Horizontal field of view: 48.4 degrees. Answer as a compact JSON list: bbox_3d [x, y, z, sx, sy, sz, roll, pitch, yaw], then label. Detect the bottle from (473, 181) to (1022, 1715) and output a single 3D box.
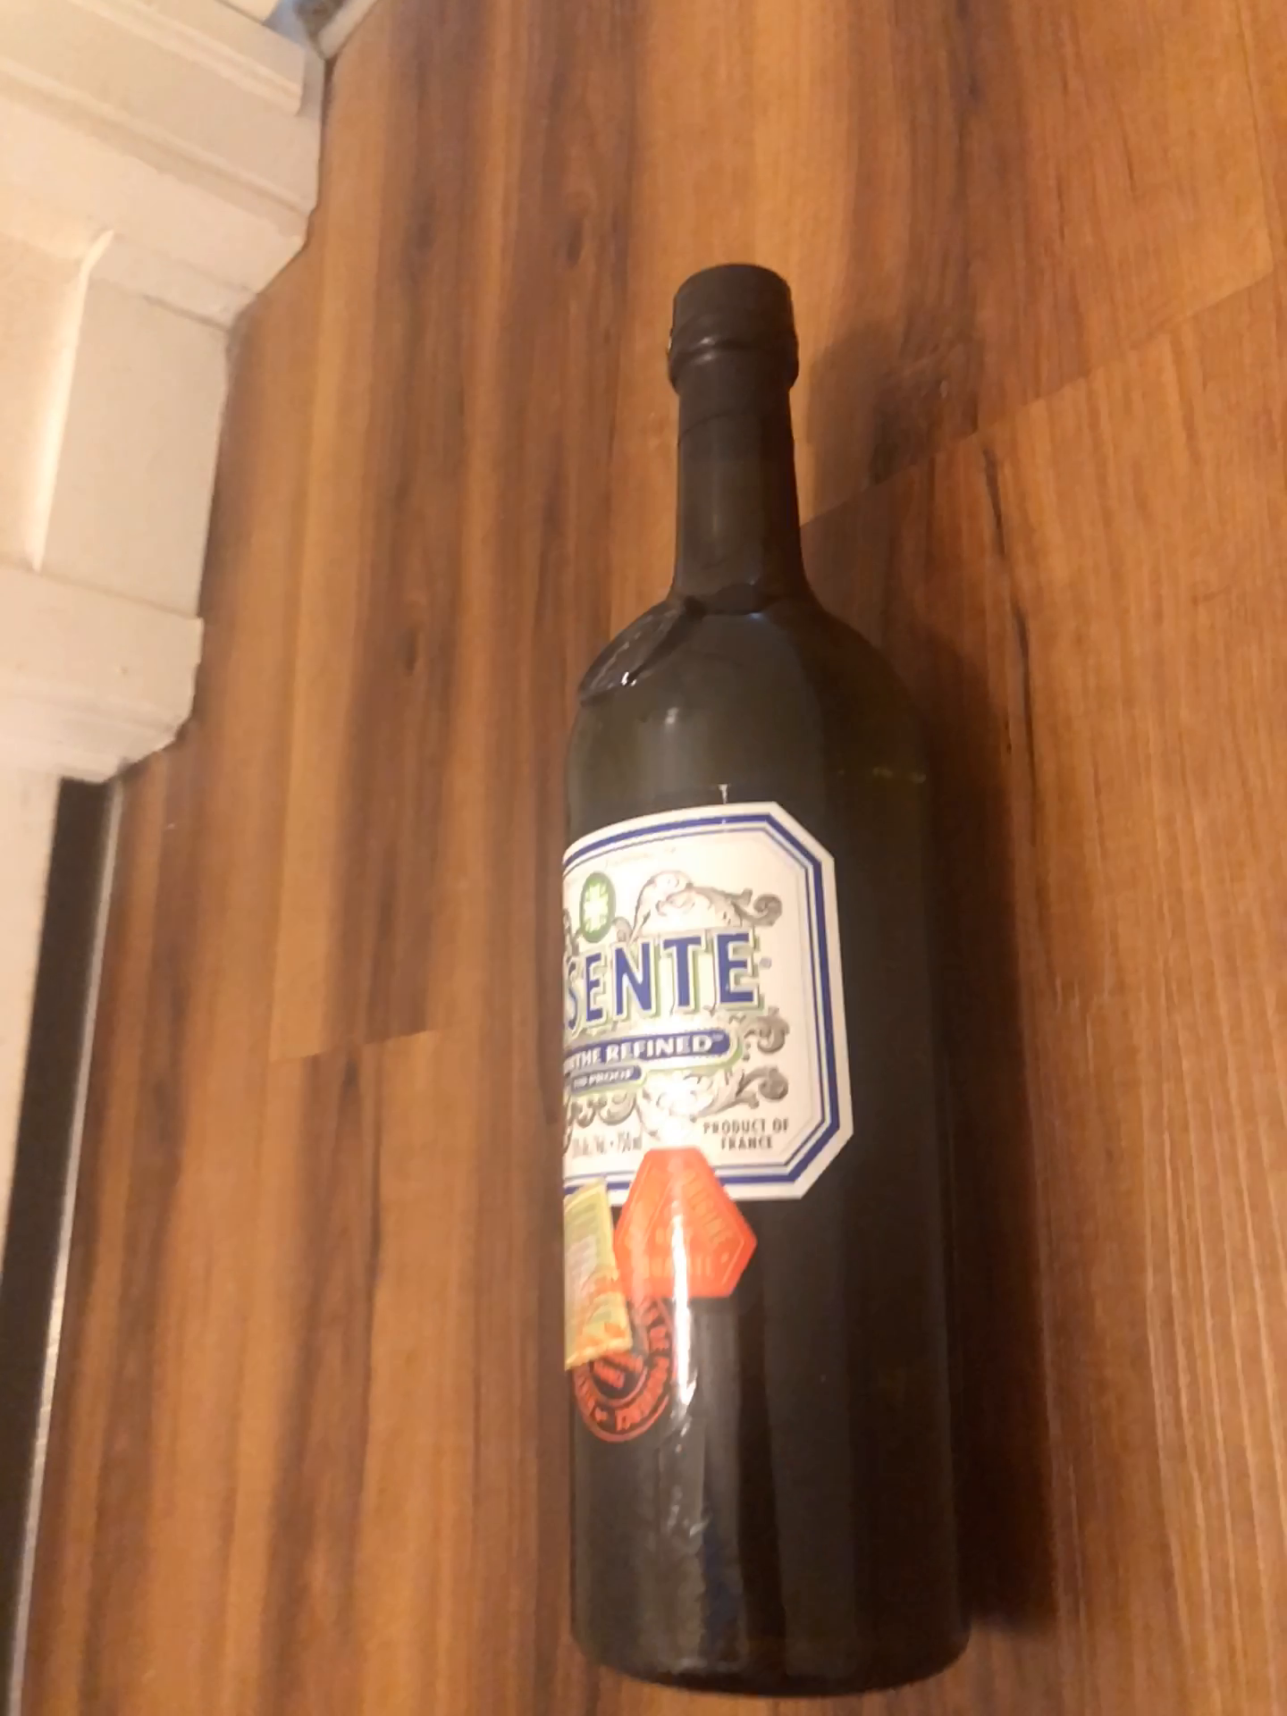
[{"bbox_3d":[0.020,0.015,0.316,0.080,0.070,0.300,-18,66,49],"label":"bottle"}]
